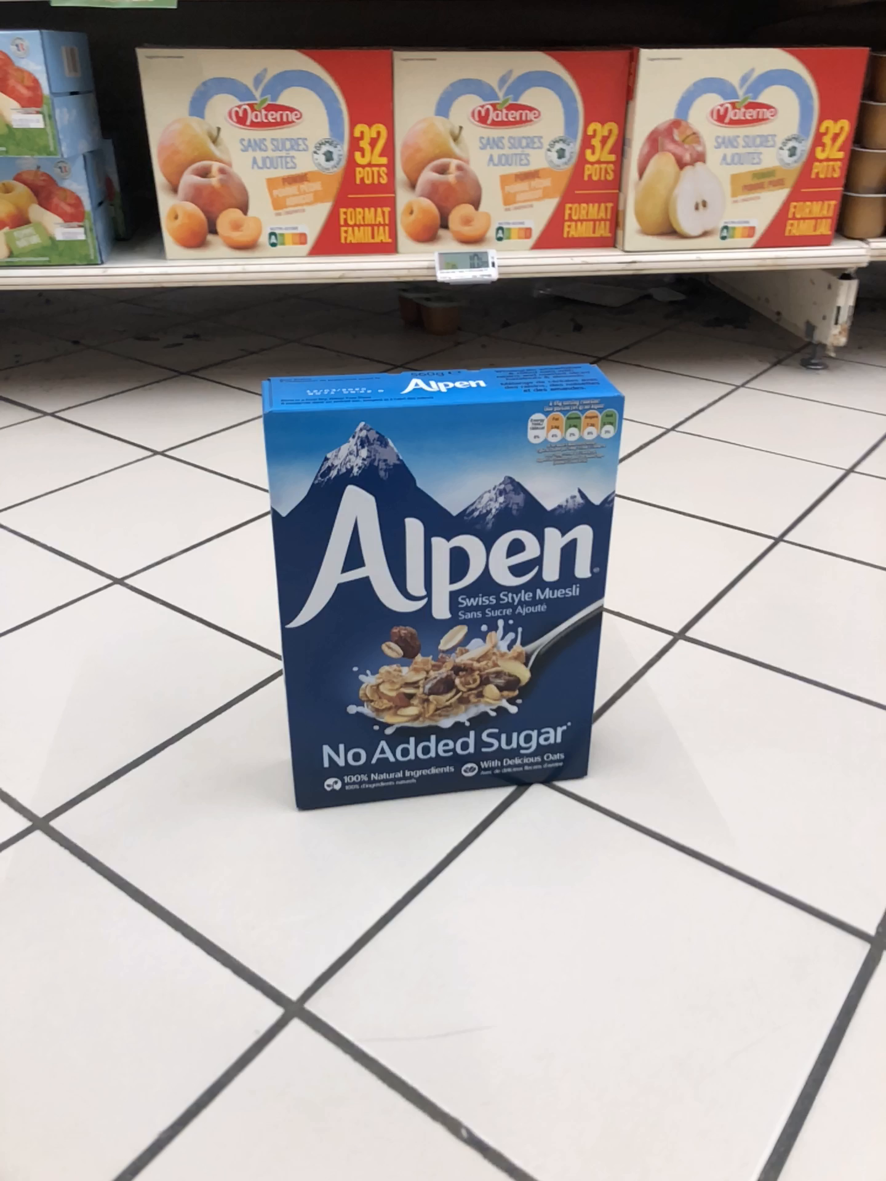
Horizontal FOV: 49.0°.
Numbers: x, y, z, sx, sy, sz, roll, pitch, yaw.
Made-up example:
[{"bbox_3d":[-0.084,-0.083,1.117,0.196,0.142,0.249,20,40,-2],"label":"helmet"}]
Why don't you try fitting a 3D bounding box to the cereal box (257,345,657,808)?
[{"bbox_3d":[0.004,-0.004,0.511,0.180,0.229,0.060,-4,29,-8],"label":"cereal box"}]
